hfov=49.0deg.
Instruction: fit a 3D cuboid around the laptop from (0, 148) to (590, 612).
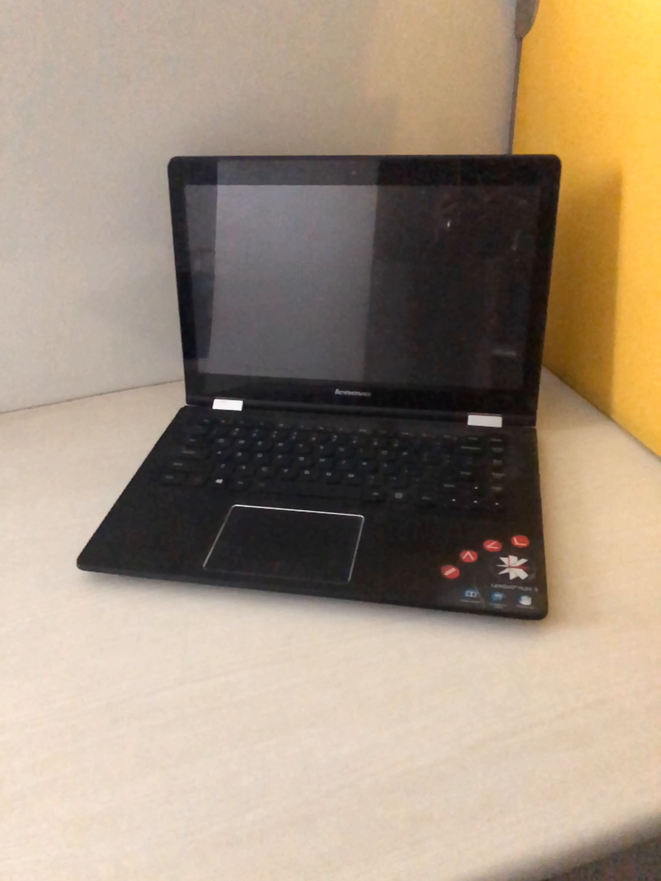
[{"bbox_3d":[-0.004,-0.070,0.536,0.311,0.225,0.265,4,34,11],"label":"laptop"}]
